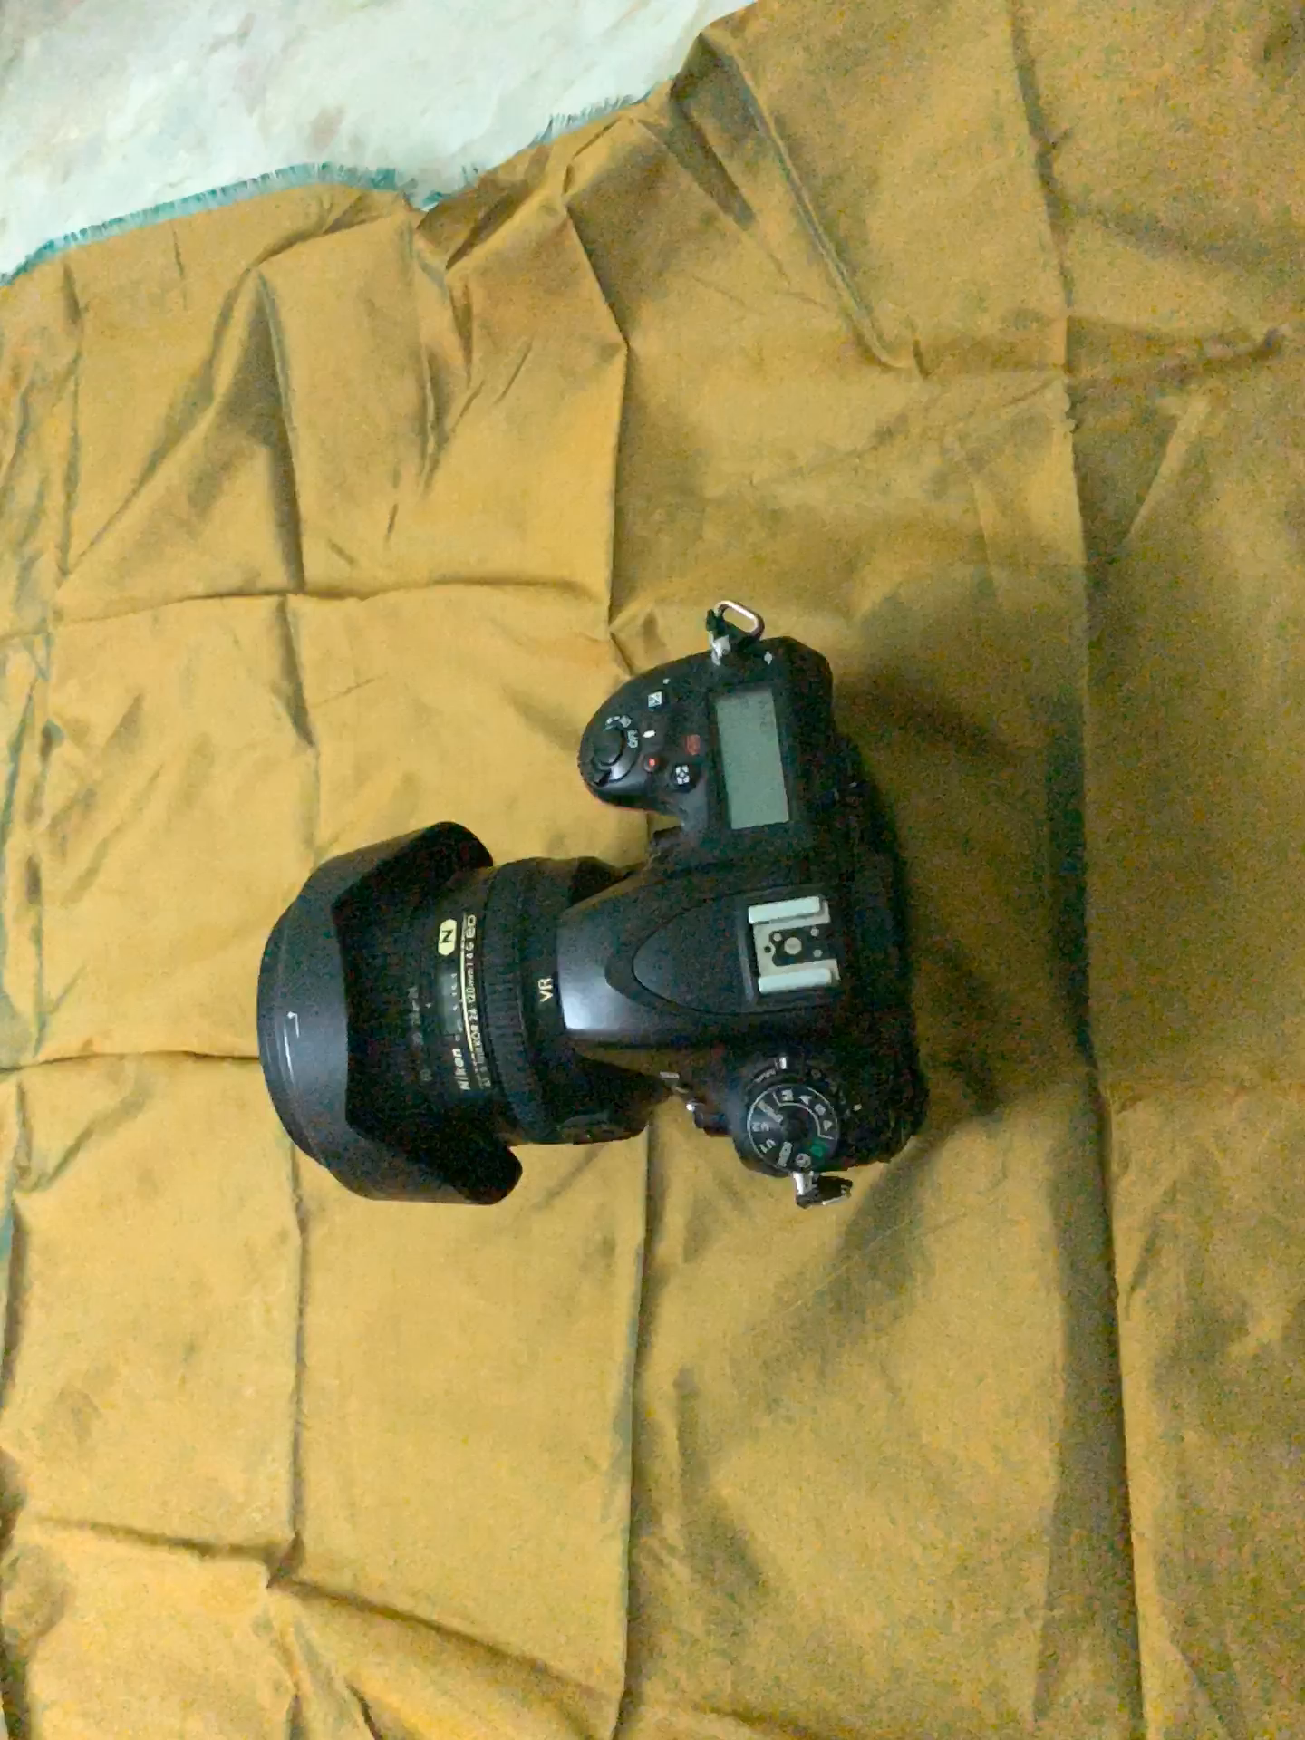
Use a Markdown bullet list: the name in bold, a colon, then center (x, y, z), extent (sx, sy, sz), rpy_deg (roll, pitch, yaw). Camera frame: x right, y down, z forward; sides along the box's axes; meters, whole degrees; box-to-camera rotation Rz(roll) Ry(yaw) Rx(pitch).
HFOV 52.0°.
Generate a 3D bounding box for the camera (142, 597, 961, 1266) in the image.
- **camera**: center (-0.024, 0.025, 0.369), extent (0.193, 0.100, 0.140), rpy_deg (-7, 81, 15)
